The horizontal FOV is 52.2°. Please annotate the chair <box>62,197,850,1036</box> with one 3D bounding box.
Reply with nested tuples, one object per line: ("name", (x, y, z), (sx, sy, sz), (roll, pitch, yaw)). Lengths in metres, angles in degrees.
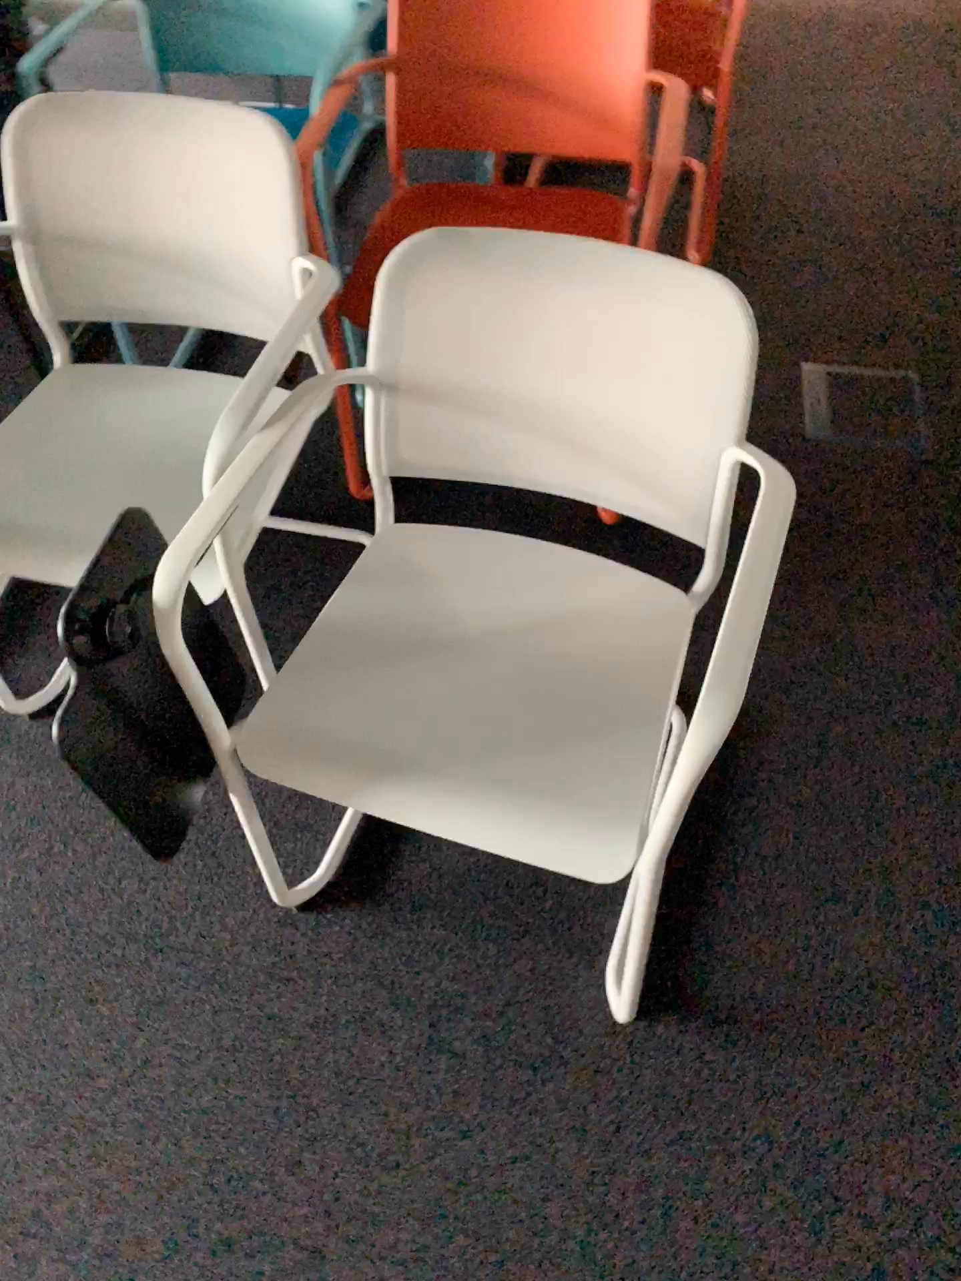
("chair", (0.029, 0.003, 1.191), (0.561, 0.757, 0.552), (14, 54, 14))
